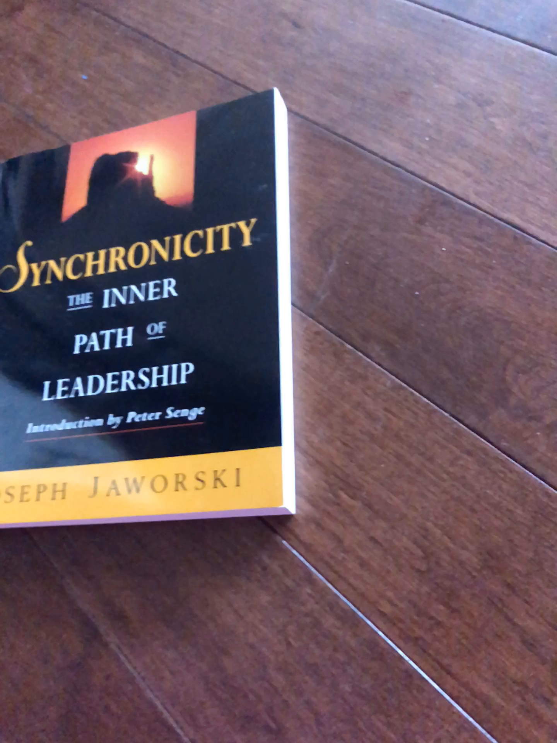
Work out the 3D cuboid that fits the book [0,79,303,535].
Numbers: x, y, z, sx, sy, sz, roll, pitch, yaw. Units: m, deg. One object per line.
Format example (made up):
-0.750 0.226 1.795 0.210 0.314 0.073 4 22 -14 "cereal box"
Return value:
-0.085 -0.033 0.331 0.190 0.030 0.223 -7 69 17 "book"
